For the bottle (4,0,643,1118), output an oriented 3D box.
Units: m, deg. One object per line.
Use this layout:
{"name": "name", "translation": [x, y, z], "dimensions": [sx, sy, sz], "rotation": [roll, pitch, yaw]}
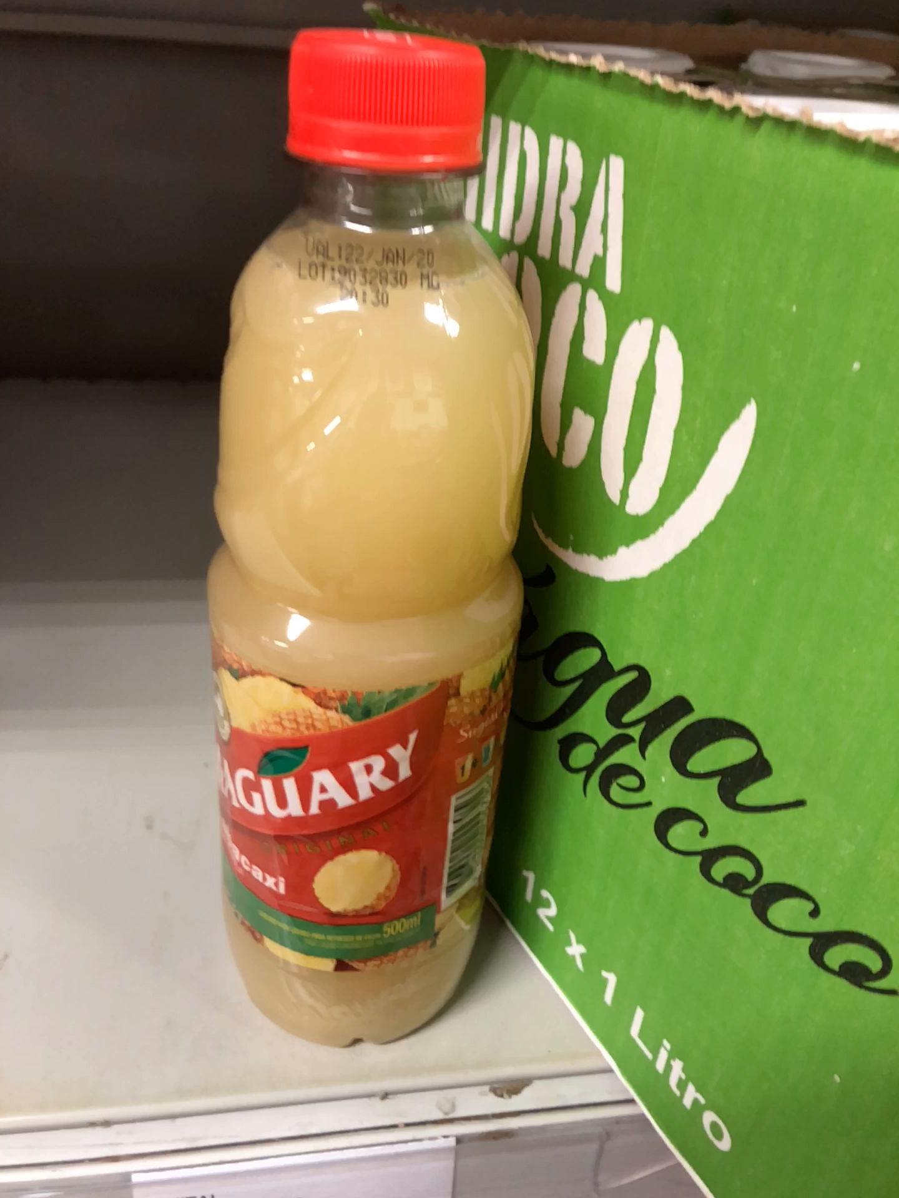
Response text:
{"name": "bottle", "translation": [-0.023, 0.003, 0.204], "dimensions": [0.070, 0.208, 0.060], "rotation": [23, 38, 26]}
